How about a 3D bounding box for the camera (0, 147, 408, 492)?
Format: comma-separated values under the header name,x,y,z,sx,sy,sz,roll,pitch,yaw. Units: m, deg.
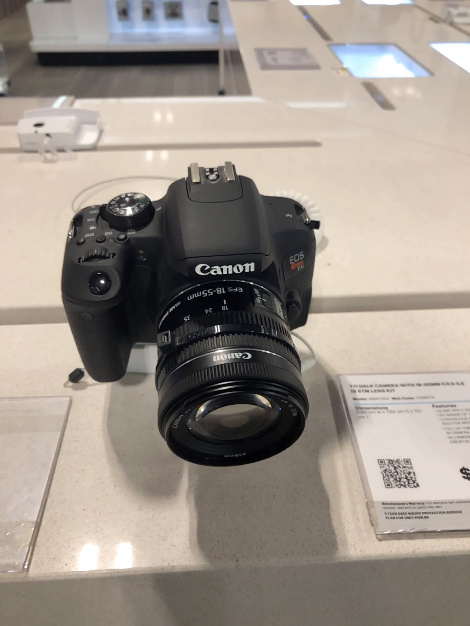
name,x,y,z,sx,sy,sz,roll,pitch,yaw
camera,-0.017,-0.005,0.258,0.140,0.099,0.131,-5,39,-6
